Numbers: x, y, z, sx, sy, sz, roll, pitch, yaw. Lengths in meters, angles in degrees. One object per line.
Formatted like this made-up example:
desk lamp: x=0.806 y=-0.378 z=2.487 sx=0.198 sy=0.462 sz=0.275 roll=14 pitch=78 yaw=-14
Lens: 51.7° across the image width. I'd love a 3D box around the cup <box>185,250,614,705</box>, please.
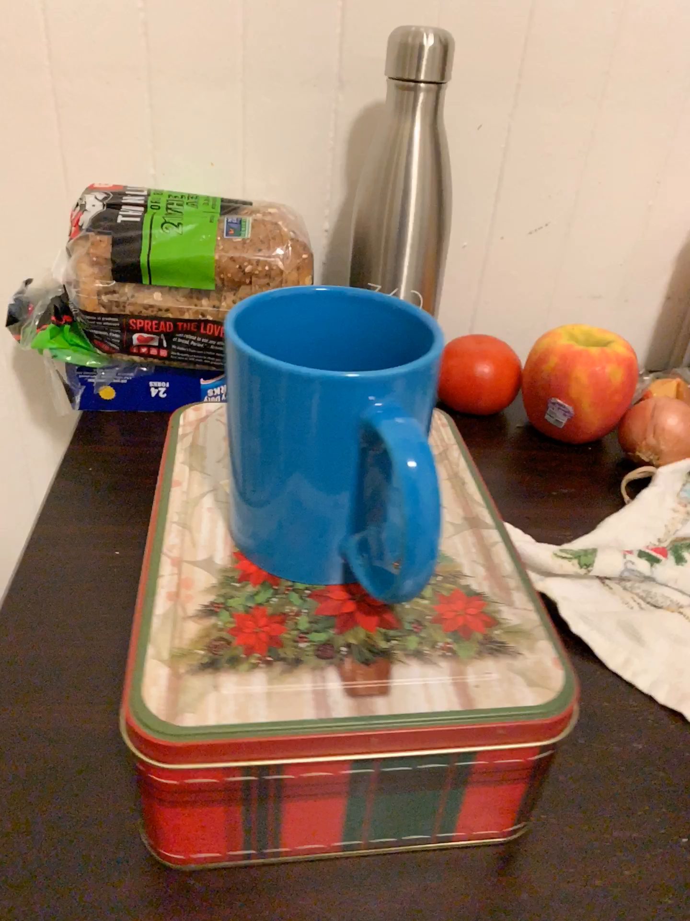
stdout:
cup: x=0.007 y=-0.006 z=0.269 sx=0.090 sy=0.099 sz=0.131 roll=-14 pitch=38 yaw=-26
